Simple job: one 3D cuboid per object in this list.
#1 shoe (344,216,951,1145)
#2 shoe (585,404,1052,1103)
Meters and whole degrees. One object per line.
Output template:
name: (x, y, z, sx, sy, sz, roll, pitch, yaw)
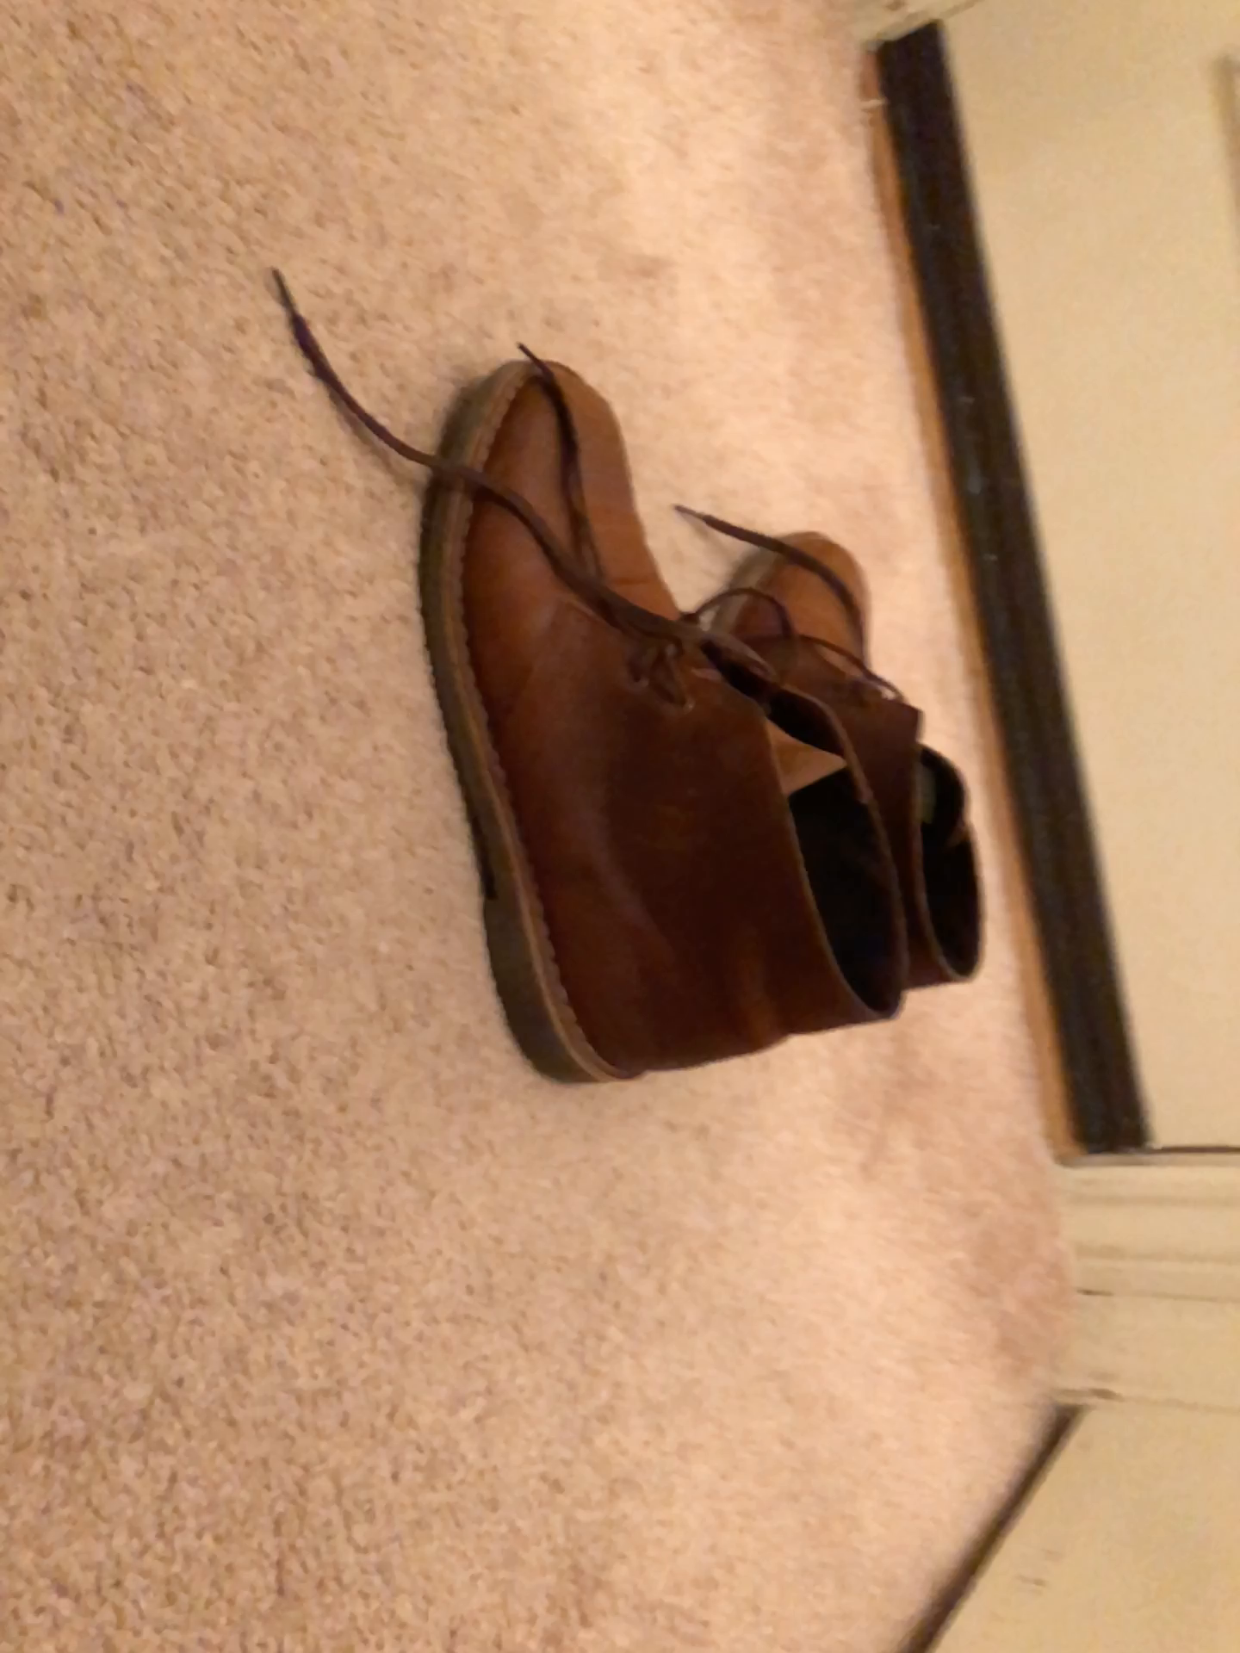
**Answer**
shoe: (0.013, -0.044, 0.525, 0.111, 0.138, 0.303, -14, 93, -54)
shoe: (0.106, -0.035, 0.649, 0.111, 0.138, 0.304, 44, 49, -39)
